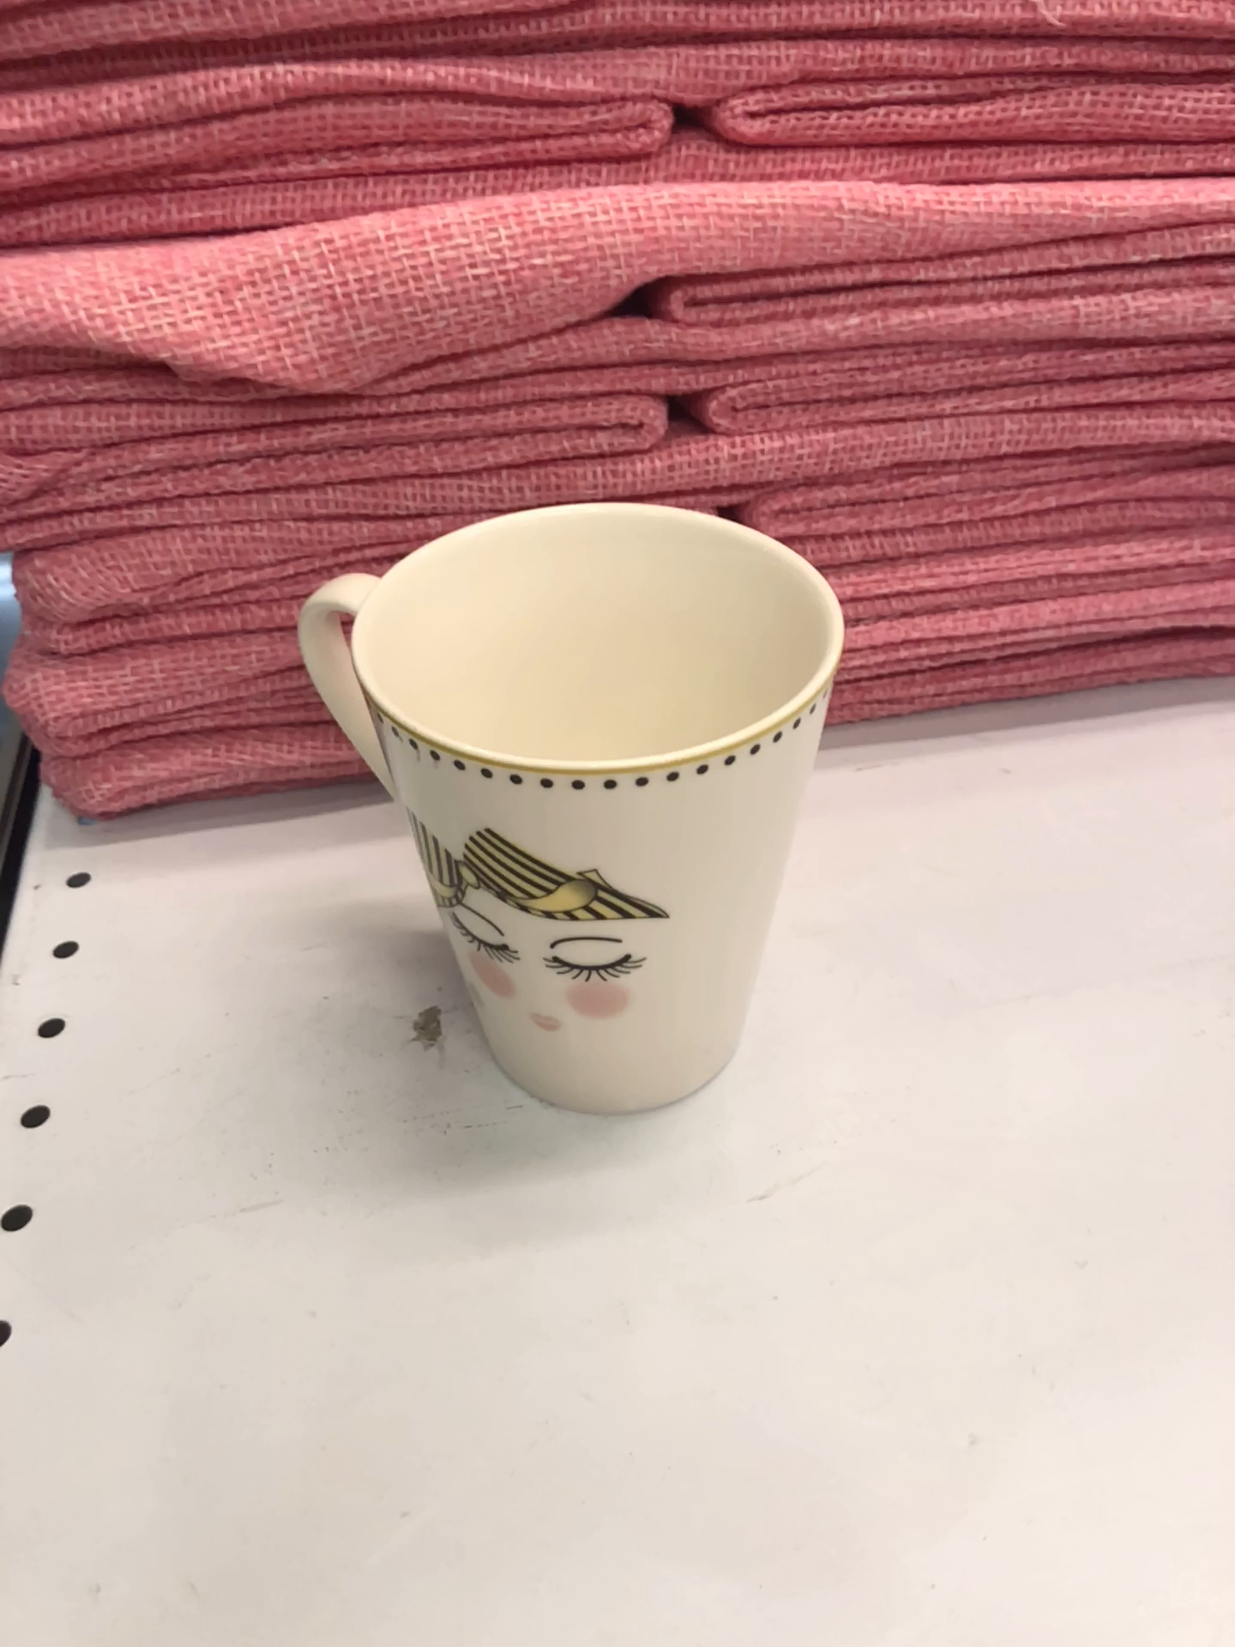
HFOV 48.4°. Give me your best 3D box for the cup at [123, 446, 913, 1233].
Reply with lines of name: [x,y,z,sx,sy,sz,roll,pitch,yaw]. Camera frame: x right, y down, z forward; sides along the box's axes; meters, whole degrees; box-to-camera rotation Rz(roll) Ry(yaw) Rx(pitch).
cup: [-0.011,-0.002,0.273,0.110,0.099,0.091,14,43,21]
